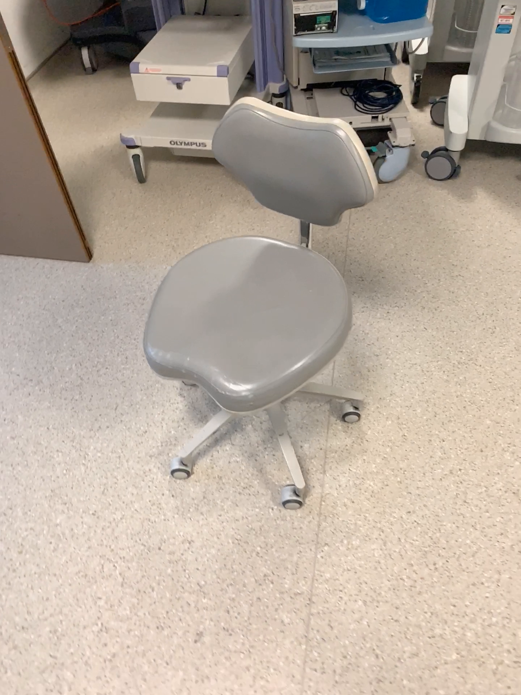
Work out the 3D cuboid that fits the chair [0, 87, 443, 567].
[{"bbox_3d":[-0.031,-0.032,1.271,0.602,0.823,0.604,21,54,21],"label":"chair"}]
